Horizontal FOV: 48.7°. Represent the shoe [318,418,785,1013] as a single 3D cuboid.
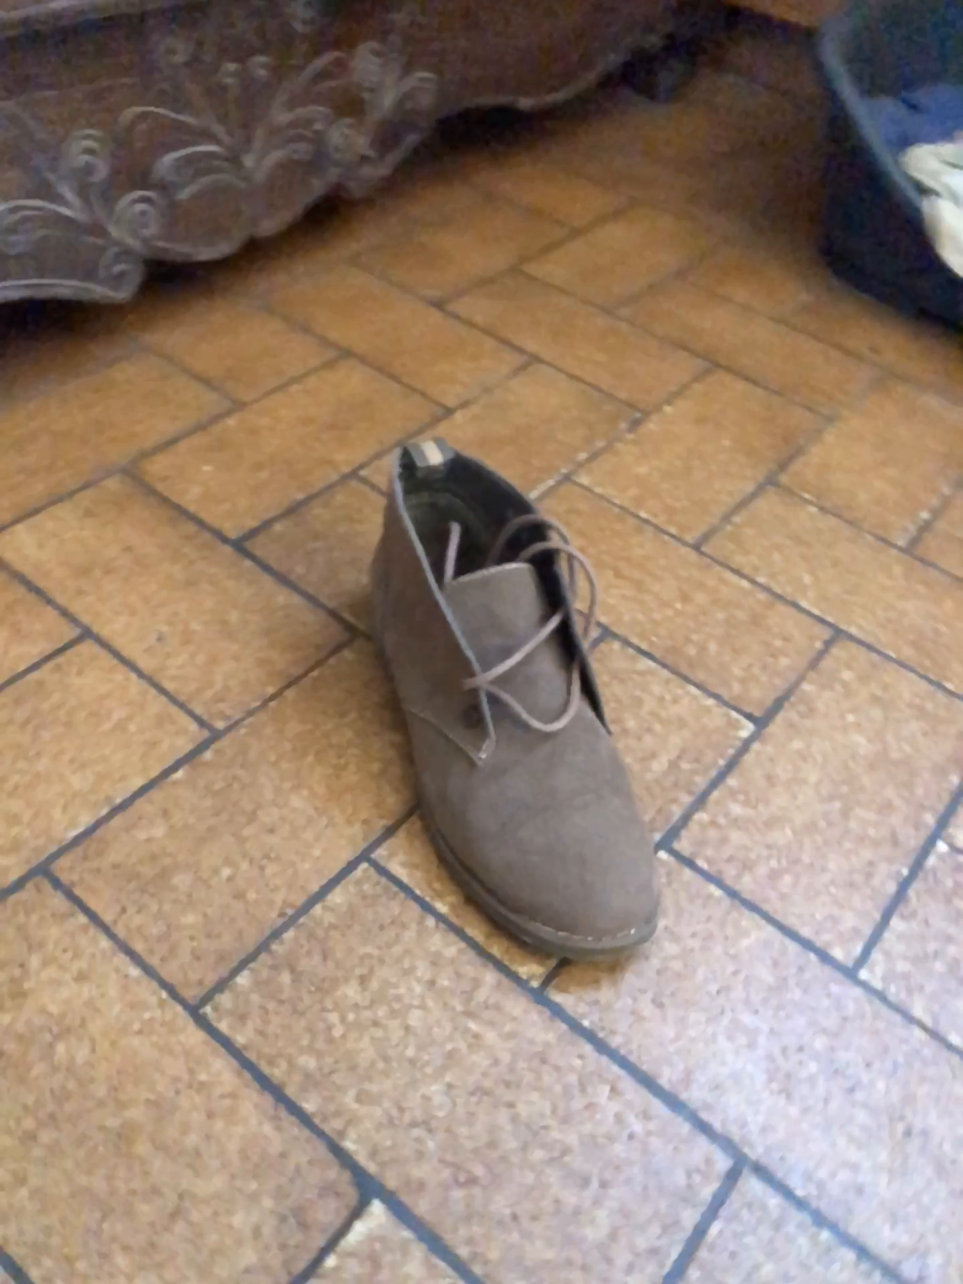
[{"bbox_3d":[0.011,0.017,0.486,0.100,0.099,0.251,-13,49,-20],"label":"shoe"}]
